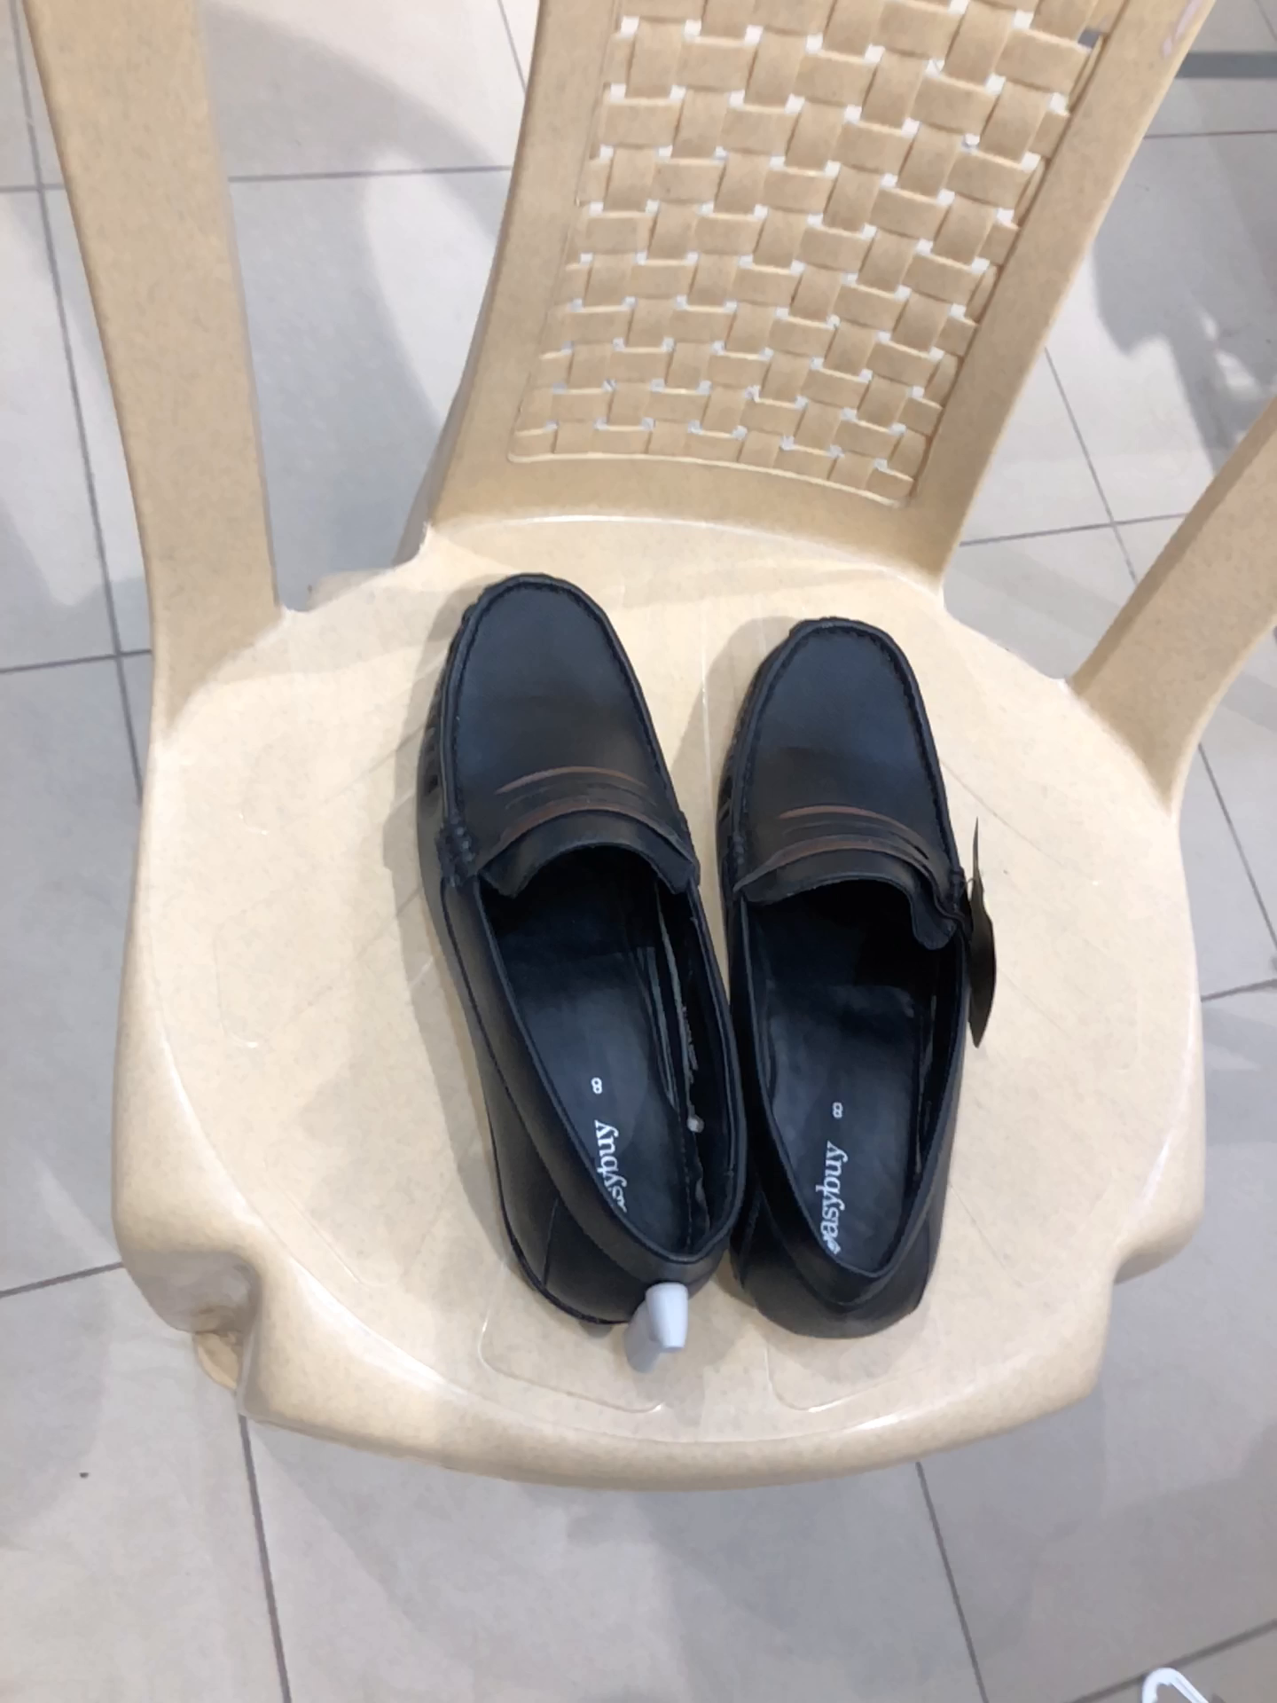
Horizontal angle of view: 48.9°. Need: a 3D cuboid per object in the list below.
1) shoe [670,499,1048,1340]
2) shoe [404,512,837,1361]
[{"bbox_3d":[0.076,0.025,0.511,0.100,0.088,0.283,7,70,-9],"label":"shoe"},{"bbox_3d":[-0.017,0.026,0.496,0.100,0.088,0.275,-5,72,-13],"label":"shoe"}]
